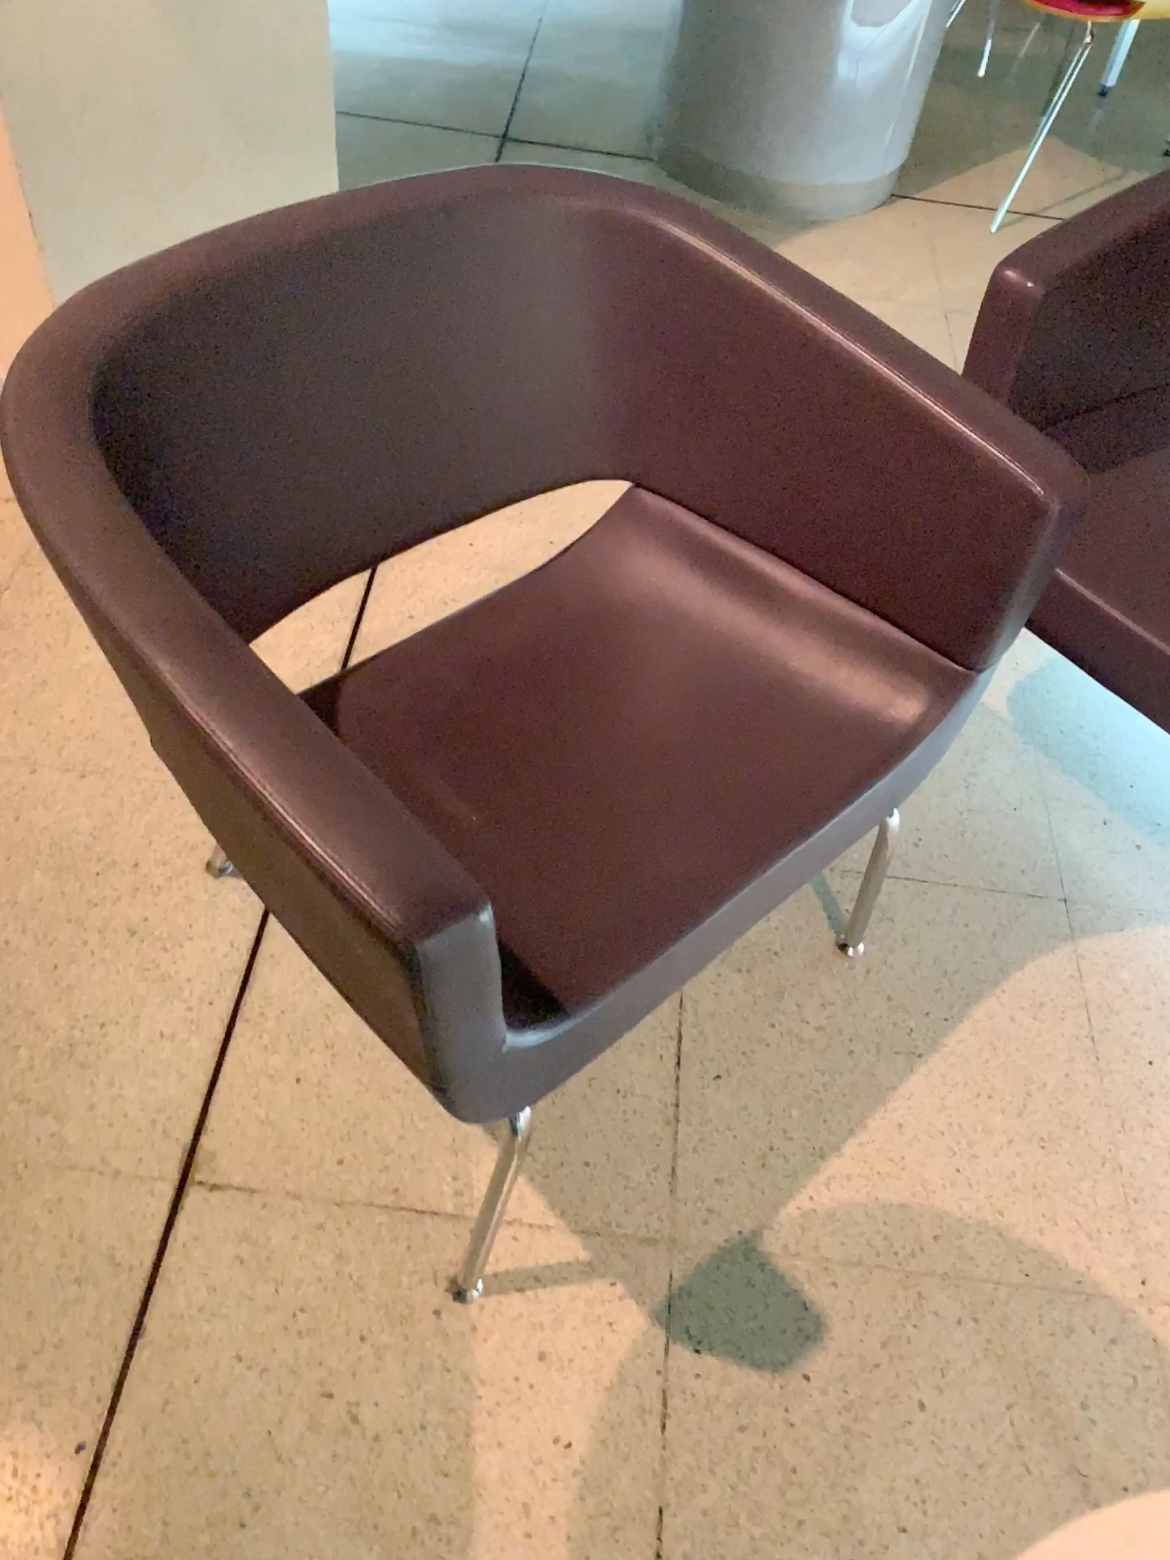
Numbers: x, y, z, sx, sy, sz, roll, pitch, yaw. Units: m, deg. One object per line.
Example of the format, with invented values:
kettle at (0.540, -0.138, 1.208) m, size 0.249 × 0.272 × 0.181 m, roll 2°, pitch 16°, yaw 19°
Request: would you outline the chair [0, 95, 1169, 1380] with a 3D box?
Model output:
chair at (-0.023, -0.079, 1.156) m, size 0.733 × 0.714 × 0.754 m, roll -31°, pitch 60°, yaw -28°
